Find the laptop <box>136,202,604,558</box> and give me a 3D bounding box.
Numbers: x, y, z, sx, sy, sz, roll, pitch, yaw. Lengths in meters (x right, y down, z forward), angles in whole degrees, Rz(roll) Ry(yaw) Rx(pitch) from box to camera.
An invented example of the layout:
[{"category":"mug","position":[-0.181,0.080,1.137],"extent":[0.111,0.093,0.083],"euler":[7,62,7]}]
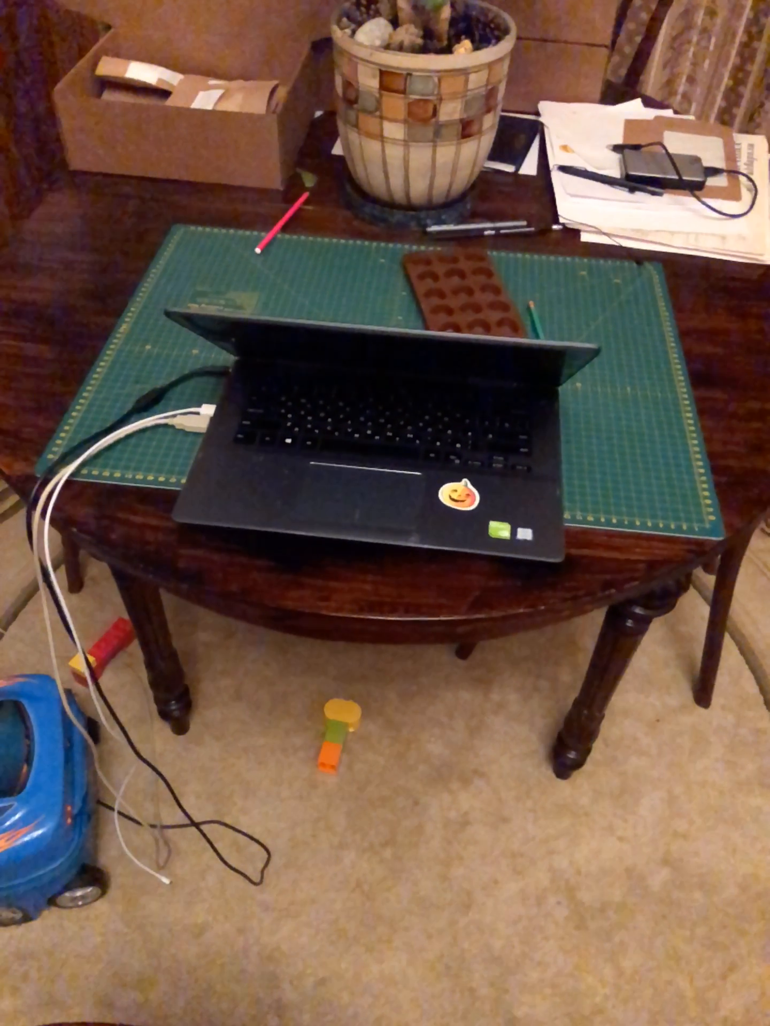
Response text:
[{"category":"laptop","position":[-0.001,-0.116,0.704],"extent":[0.317,0.162,0.225],"euler":[6,47,3]}]
